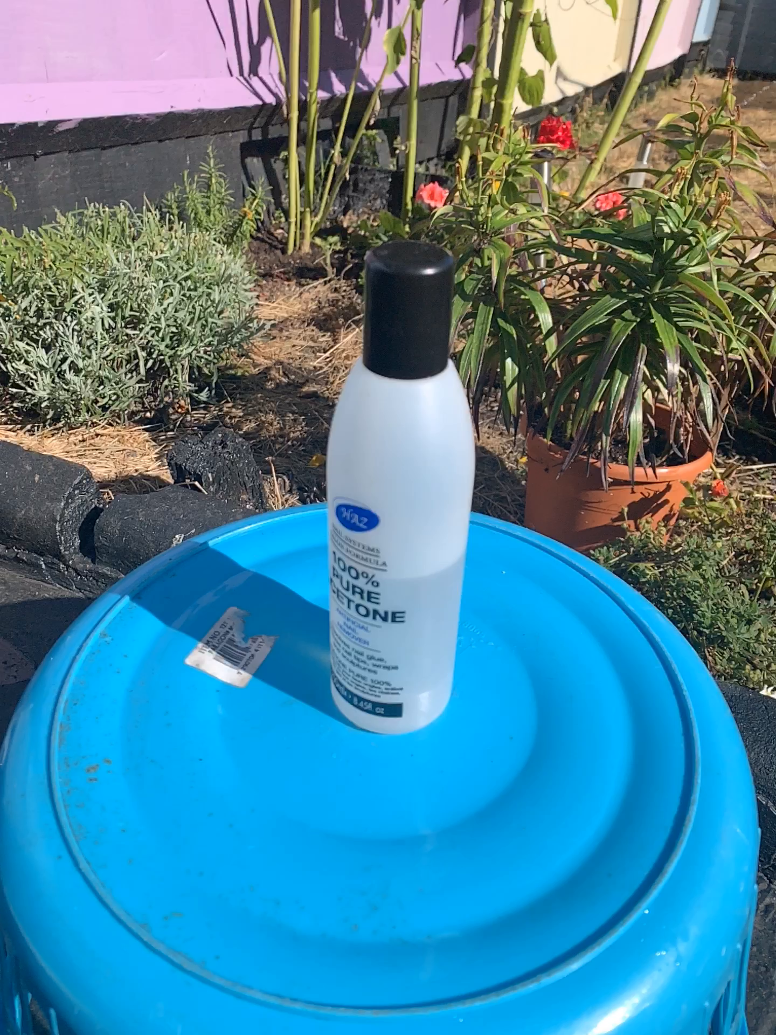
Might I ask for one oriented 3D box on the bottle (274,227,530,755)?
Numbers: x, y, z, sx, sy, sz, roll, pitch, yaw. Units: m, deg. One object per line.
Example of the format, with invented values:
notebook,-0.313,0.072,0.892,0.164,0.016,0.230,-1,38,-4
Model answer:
bottle,0.003,-0.006,0.297,0.060,0.178,0.060,2,31,-1
